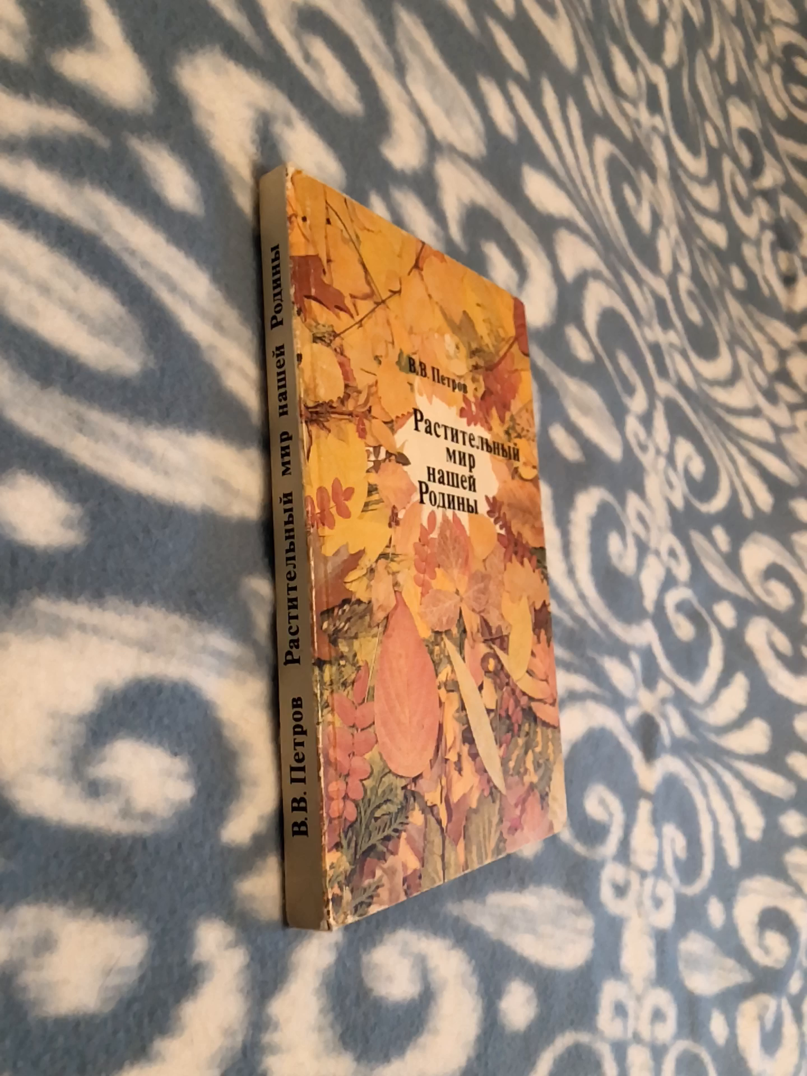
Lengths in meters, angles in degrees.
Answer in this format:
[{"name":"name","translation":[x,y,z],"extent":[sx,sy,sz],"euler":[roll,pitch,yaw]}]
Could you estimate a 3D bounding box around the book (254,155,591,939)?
[{"name":"book","translation":[0.015,0.003,0.306],"extent":[0.158,0.020,0.208],"euler":[8,76,-56]}]
